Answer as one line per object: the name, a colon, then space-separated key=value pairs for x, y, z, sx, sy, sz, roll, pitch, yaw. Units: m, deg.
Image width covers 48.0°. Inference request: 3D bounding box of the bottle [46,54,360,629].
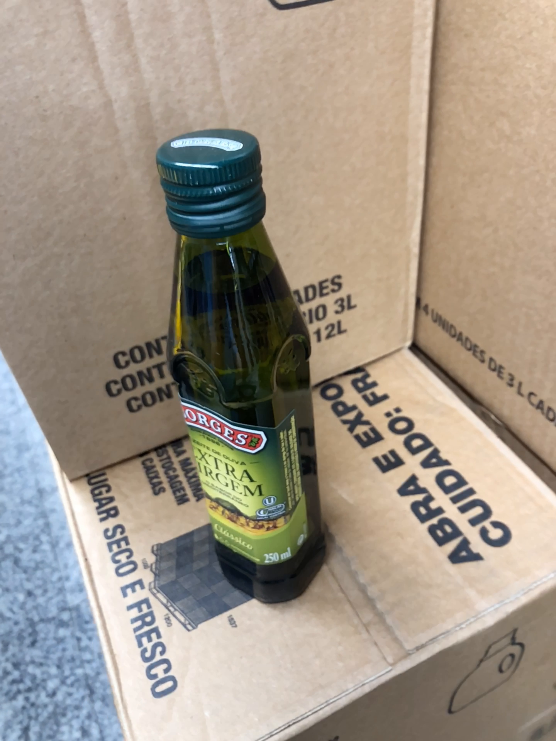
bottle: x=-0.010 y=0.008 z=0.239 sx=0.060 sy=0.218 sz=0.060 roll=-3 pitch=42 yaw=3
